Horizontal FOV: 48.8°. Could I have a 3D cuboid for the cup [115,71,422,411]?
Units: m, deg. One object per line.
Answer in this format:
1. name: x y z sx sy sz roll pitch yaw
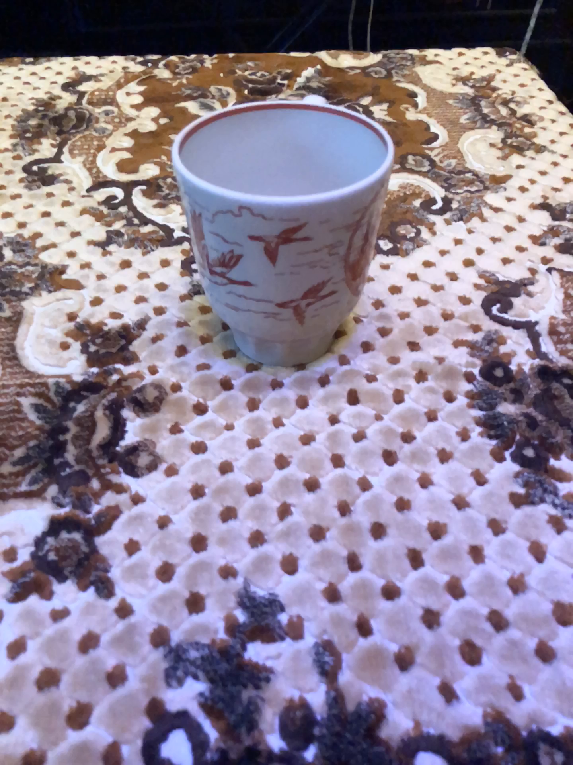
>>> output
1. cup: 0.002 -0.072 0.295 0.100 0.090 0.131 8 46 10
